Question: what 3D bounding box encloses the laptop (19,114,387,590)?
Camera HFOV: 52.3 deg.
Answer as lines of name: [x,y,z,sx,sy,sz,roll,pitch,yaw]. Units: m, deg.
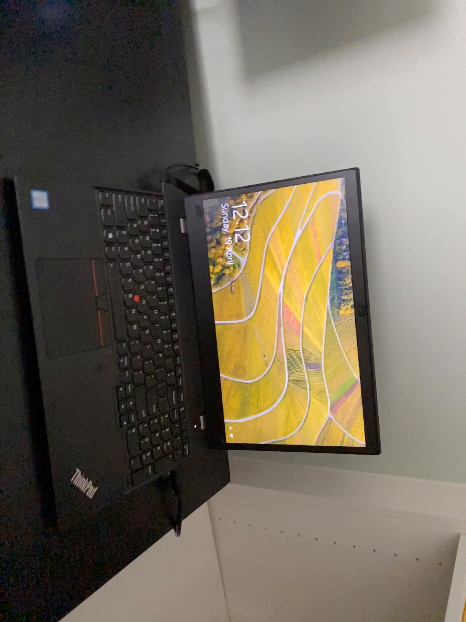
laptop: [-0.006,0.026,0.527,0.295,0.231,0.351,-10,95,-57]
